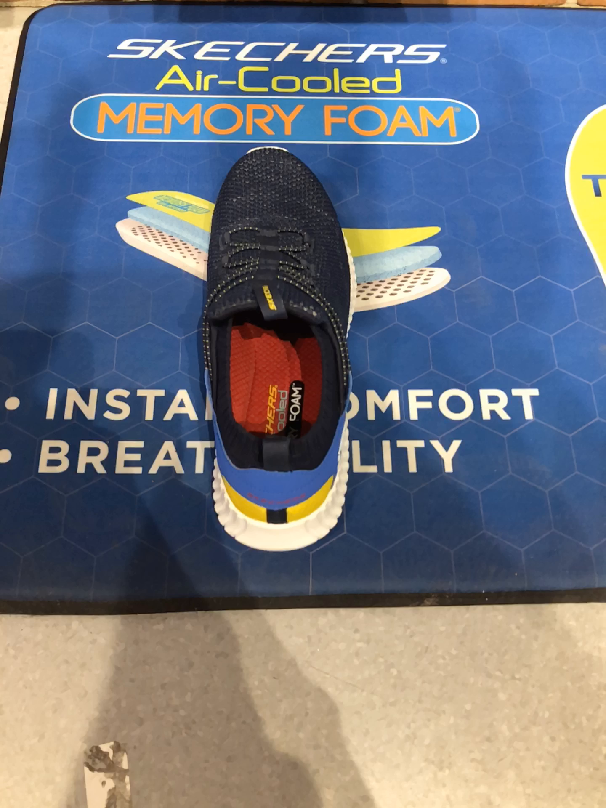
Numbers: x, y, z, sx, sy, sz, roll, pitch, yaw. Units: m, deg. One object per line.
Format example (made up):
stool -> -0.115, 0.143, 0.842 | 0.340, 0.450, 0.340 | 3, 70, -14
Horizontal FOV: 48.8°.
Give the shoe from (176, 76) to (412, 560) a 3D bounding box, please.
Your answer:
shoe -> -0.014, -0.056, 0.415 | 0.111, 0.103, 0.280 | -3, 68, -3
